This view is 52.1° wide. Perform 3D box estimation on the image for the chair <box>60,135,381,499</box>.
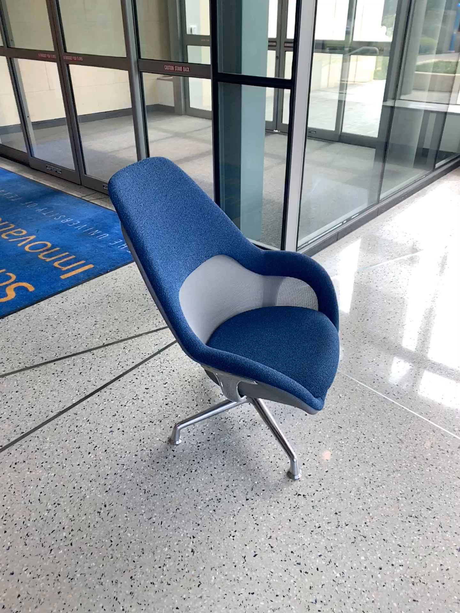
[{"bbox_3d":[0.035,-0.024,1.681,0.785,0.933,0.730,10,33,16],"label":"chair"}]
